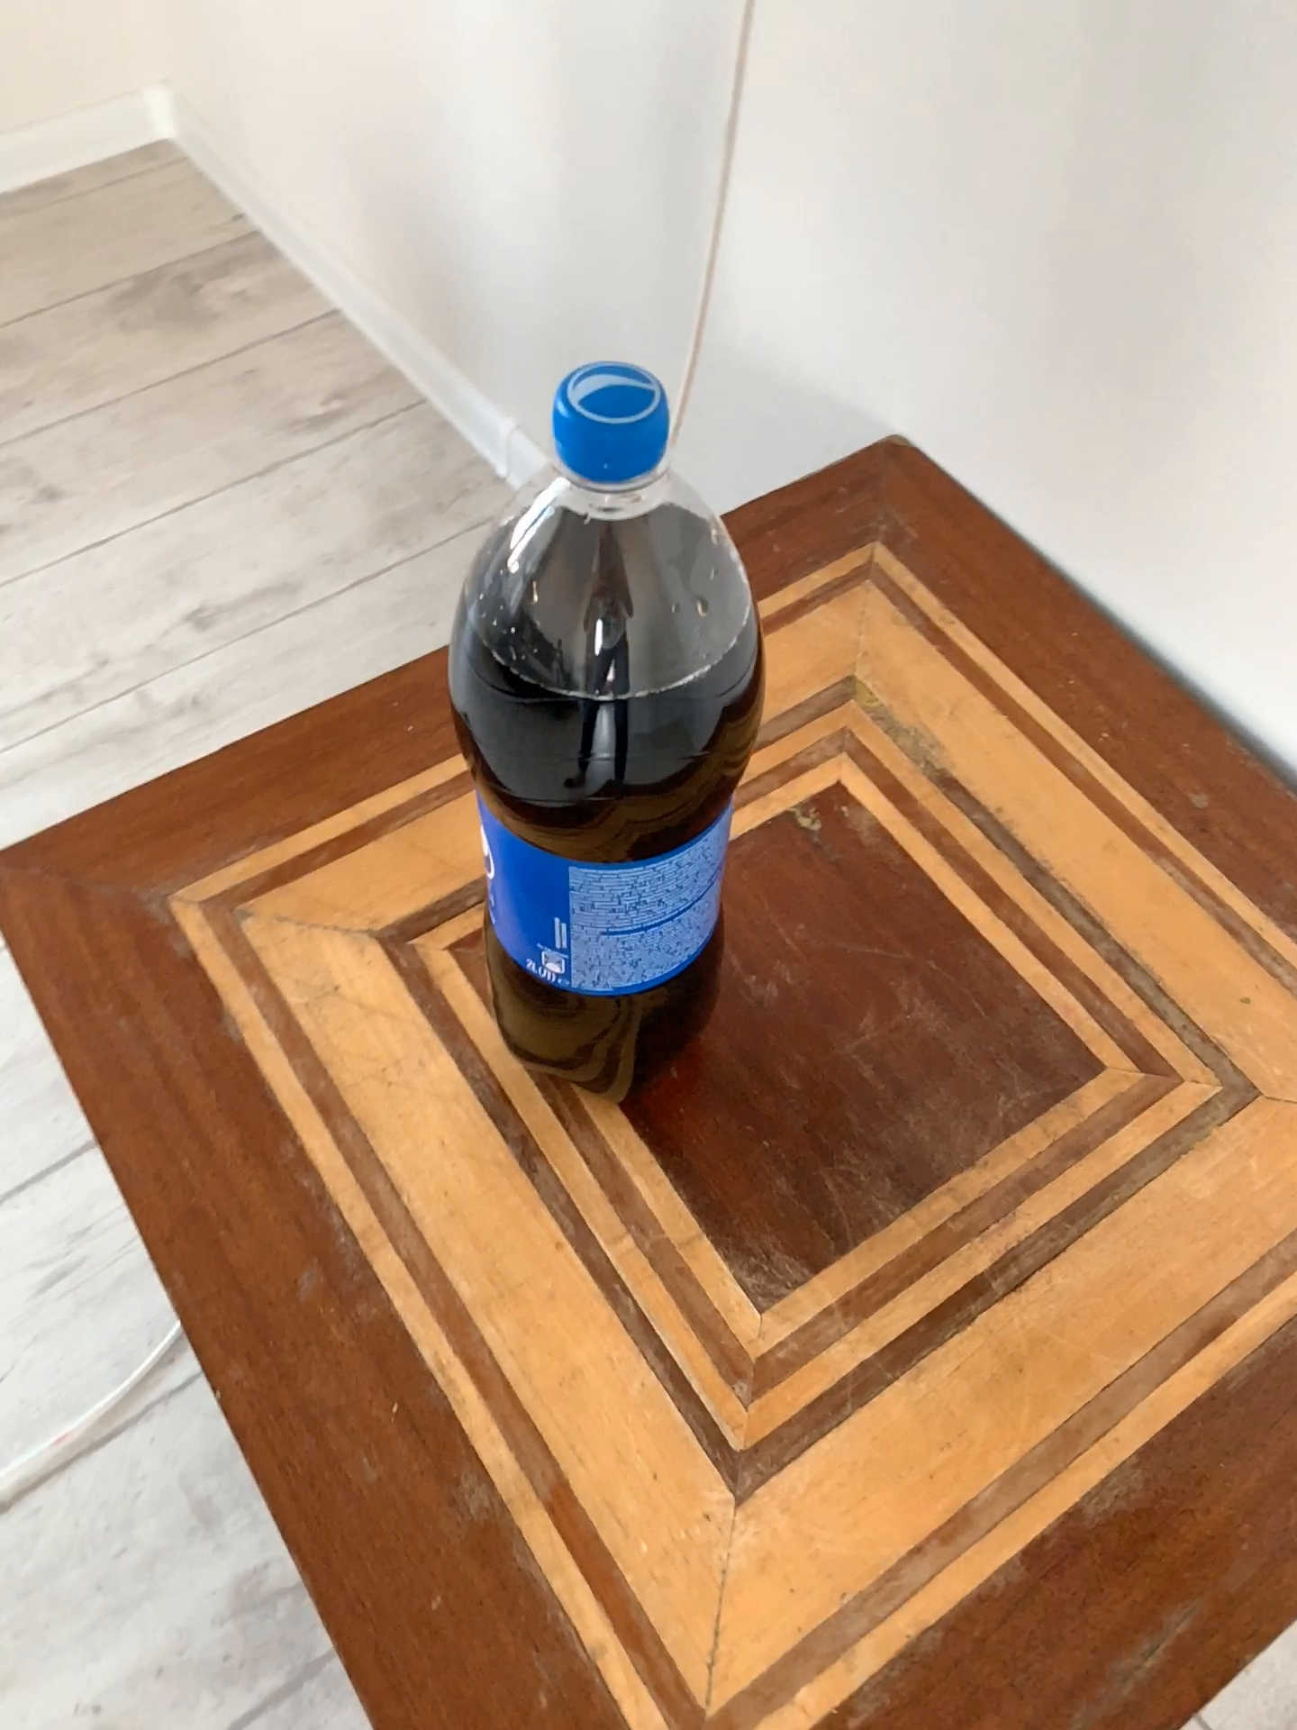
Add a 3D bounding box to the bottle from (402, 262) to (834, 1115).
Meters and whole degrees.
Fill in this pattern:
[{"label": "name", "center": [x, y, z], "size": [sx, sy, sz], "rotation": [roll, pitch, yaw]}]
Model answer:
[{"label": "bottle", "center": [-0.016, -0.028, 0.476], "size": [0.100, 0.339, 0.100], "rotation": [1, 57, -1]}]
